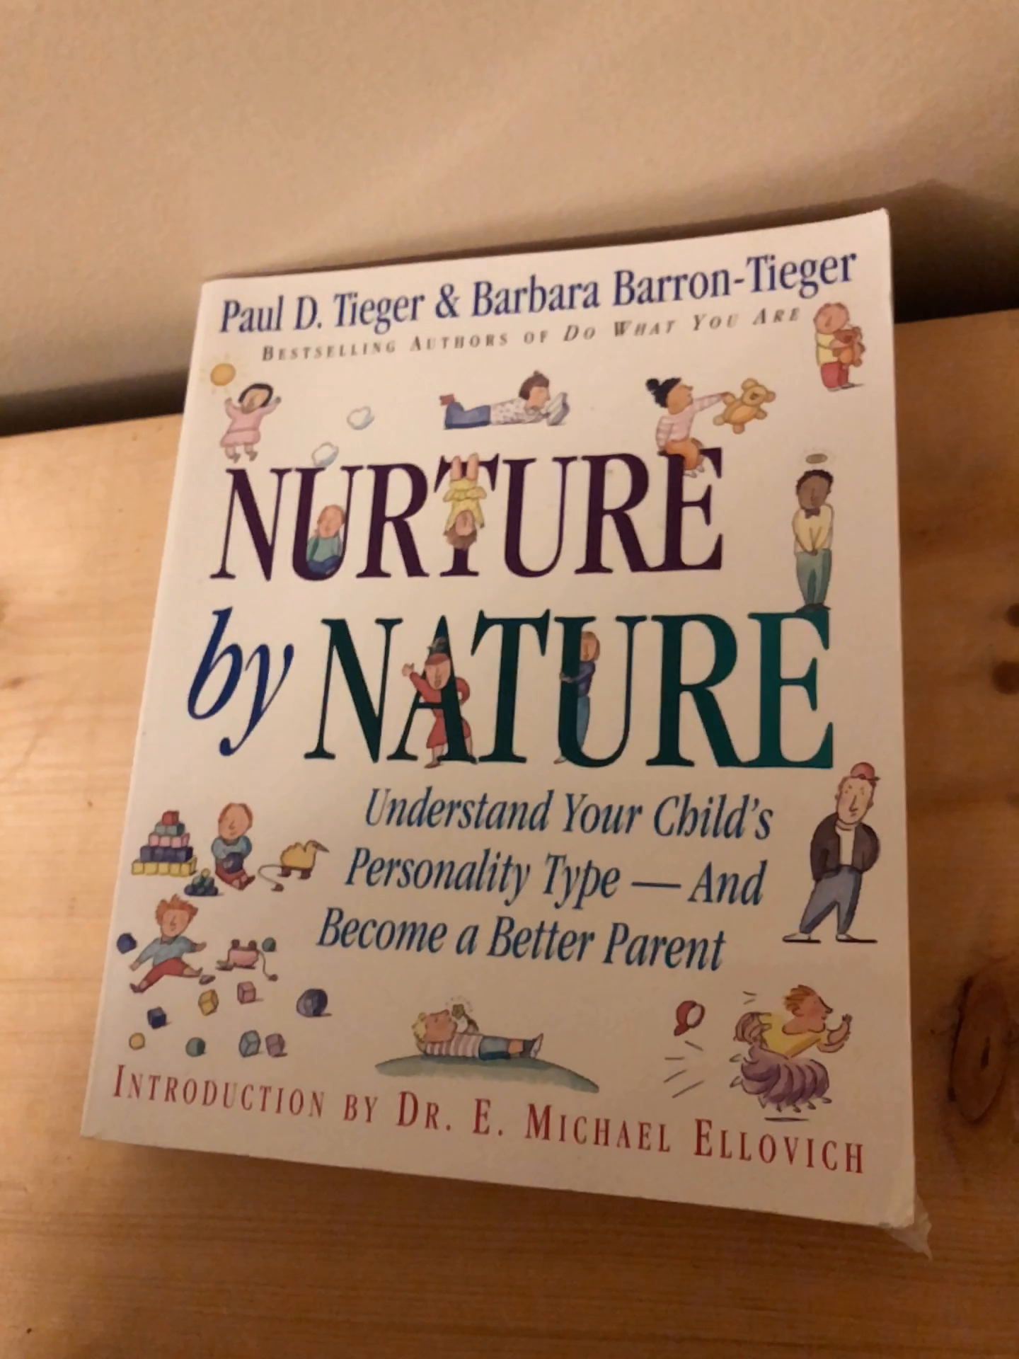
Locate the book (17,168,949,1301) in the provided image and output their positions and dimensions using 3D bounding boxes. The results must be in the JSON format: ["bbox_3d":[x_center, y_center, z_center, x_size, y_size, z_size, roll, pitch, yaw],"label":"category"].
[{"bbox_3d":[-0.002,0.000,0.287,0.200,0.040,0.250,0,74,14],"label":"book"}]
